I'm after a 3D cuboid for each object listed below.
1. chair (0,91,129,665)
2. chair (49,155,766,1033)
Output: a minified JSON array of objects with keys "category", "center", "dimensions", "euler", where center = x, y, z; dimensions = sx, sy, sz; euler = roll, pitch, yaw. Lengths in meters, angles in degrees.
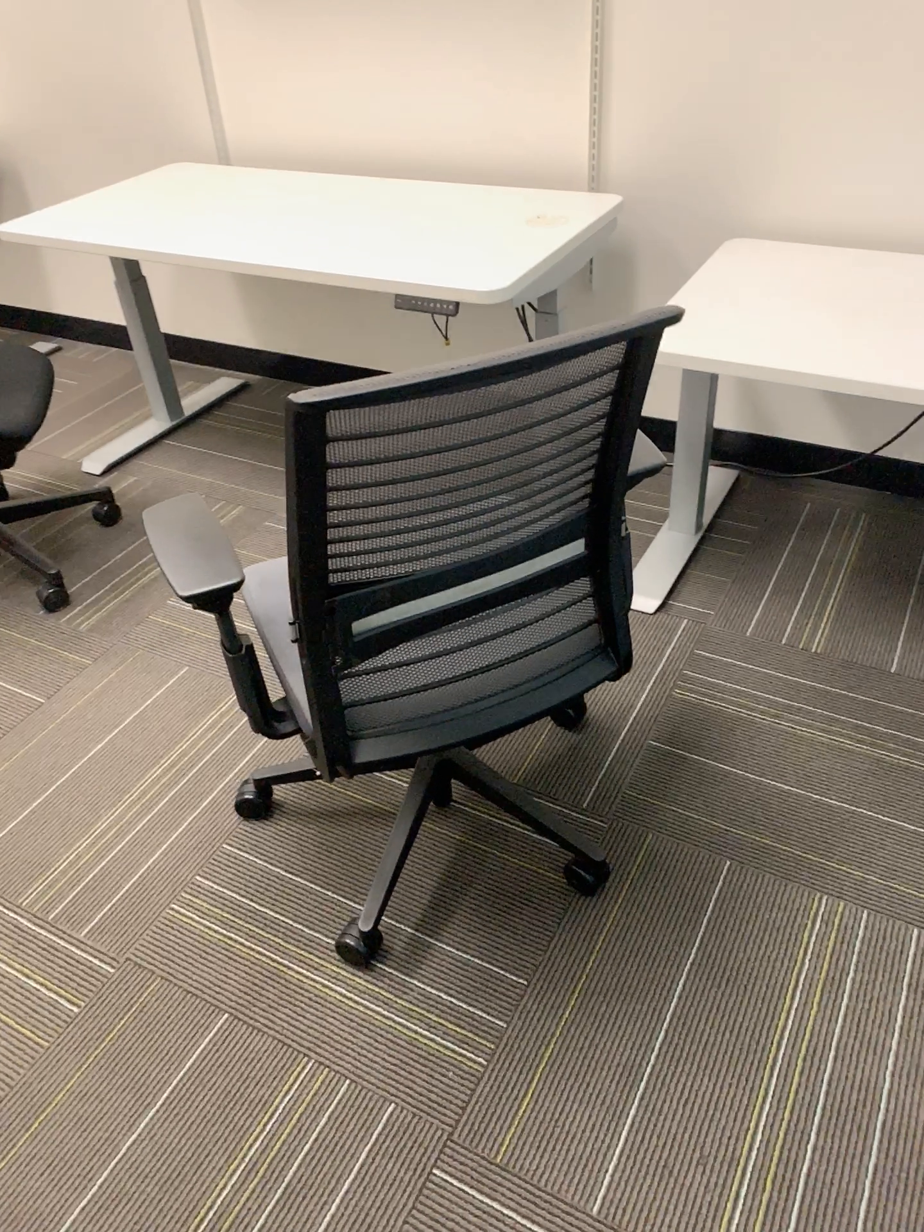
[{"category":"chair","center":[-1.290,-0.573,2.203],"dimensions":[0.700,0.994,0.735],"euler":[-14,39,-13]},{"category":"chair","center":[-0.082,-0.054,1.431],"dimensions":[0.640,0.994,0.644],"euler":[-21,41,-21]}]
